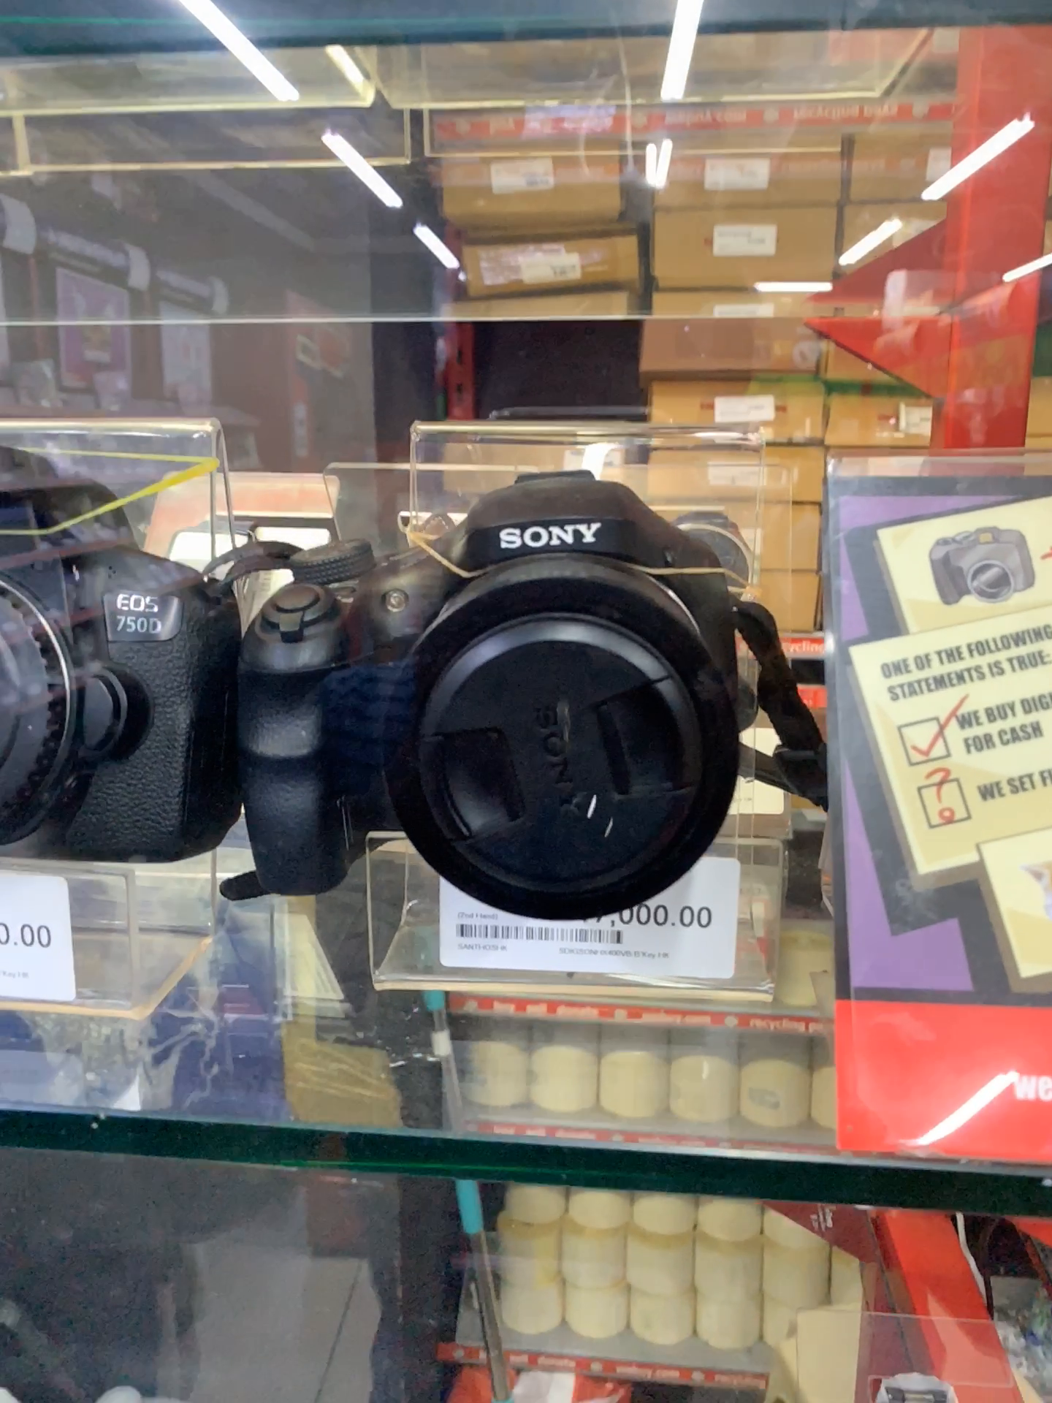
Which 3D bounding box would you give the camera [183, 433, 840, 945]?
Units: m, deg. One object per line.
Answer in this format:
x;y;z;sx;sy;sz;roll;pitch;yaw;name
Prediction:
-0.002;-0.010;0.252;0.120;0.100;0.090;0;12;1;camera
